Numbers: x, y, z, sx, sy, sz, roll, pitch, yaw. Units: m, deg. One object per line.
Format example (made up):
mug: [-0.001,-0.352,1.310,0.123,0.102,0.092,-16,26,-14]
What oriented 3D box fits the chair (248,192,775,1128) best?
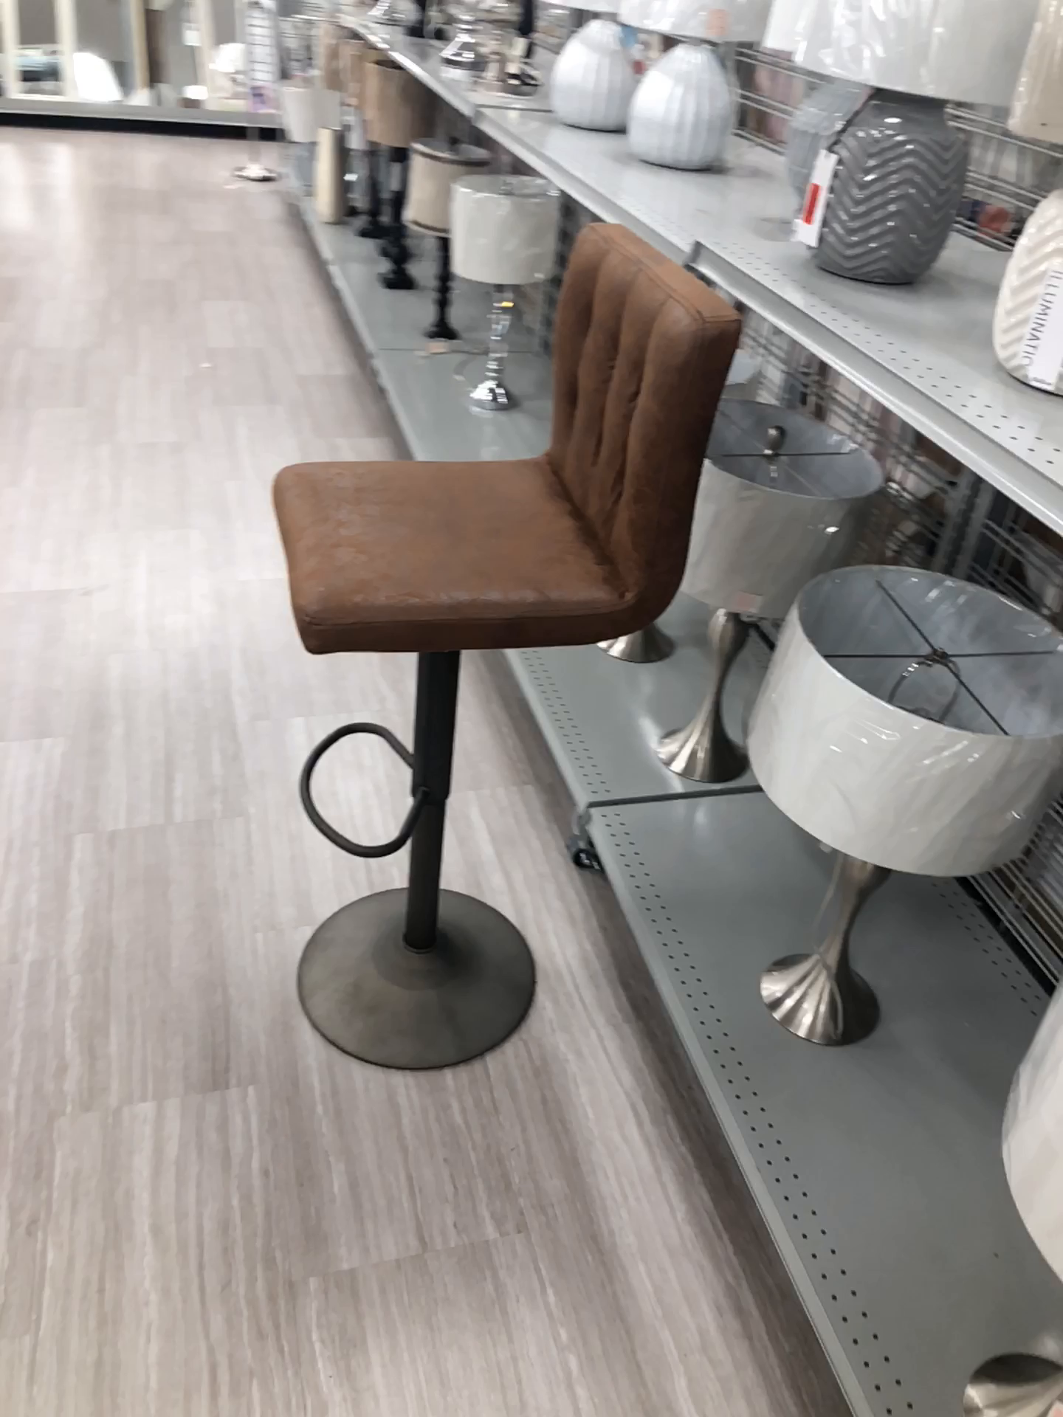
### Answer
chair: [-0.100,-0.031,1.538,0.468,1.102,0.476,-3,34,-14]
